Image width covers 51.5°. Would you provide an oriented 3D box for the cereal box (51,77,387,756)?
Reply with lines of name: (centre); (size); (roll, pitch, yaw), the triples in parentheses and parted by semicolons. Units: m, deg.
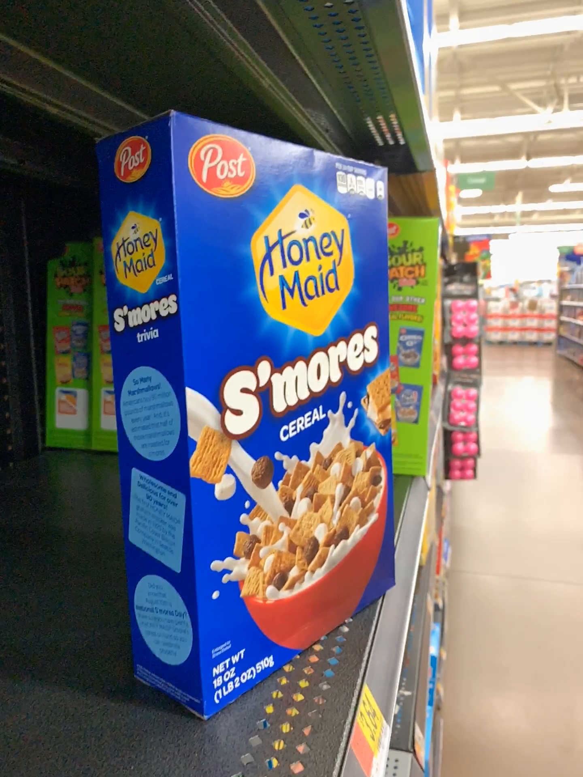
cereal box: (-0.026, 0.009, 0.379); (0.070, 0.319, 0.200); (3, 9, 40)
